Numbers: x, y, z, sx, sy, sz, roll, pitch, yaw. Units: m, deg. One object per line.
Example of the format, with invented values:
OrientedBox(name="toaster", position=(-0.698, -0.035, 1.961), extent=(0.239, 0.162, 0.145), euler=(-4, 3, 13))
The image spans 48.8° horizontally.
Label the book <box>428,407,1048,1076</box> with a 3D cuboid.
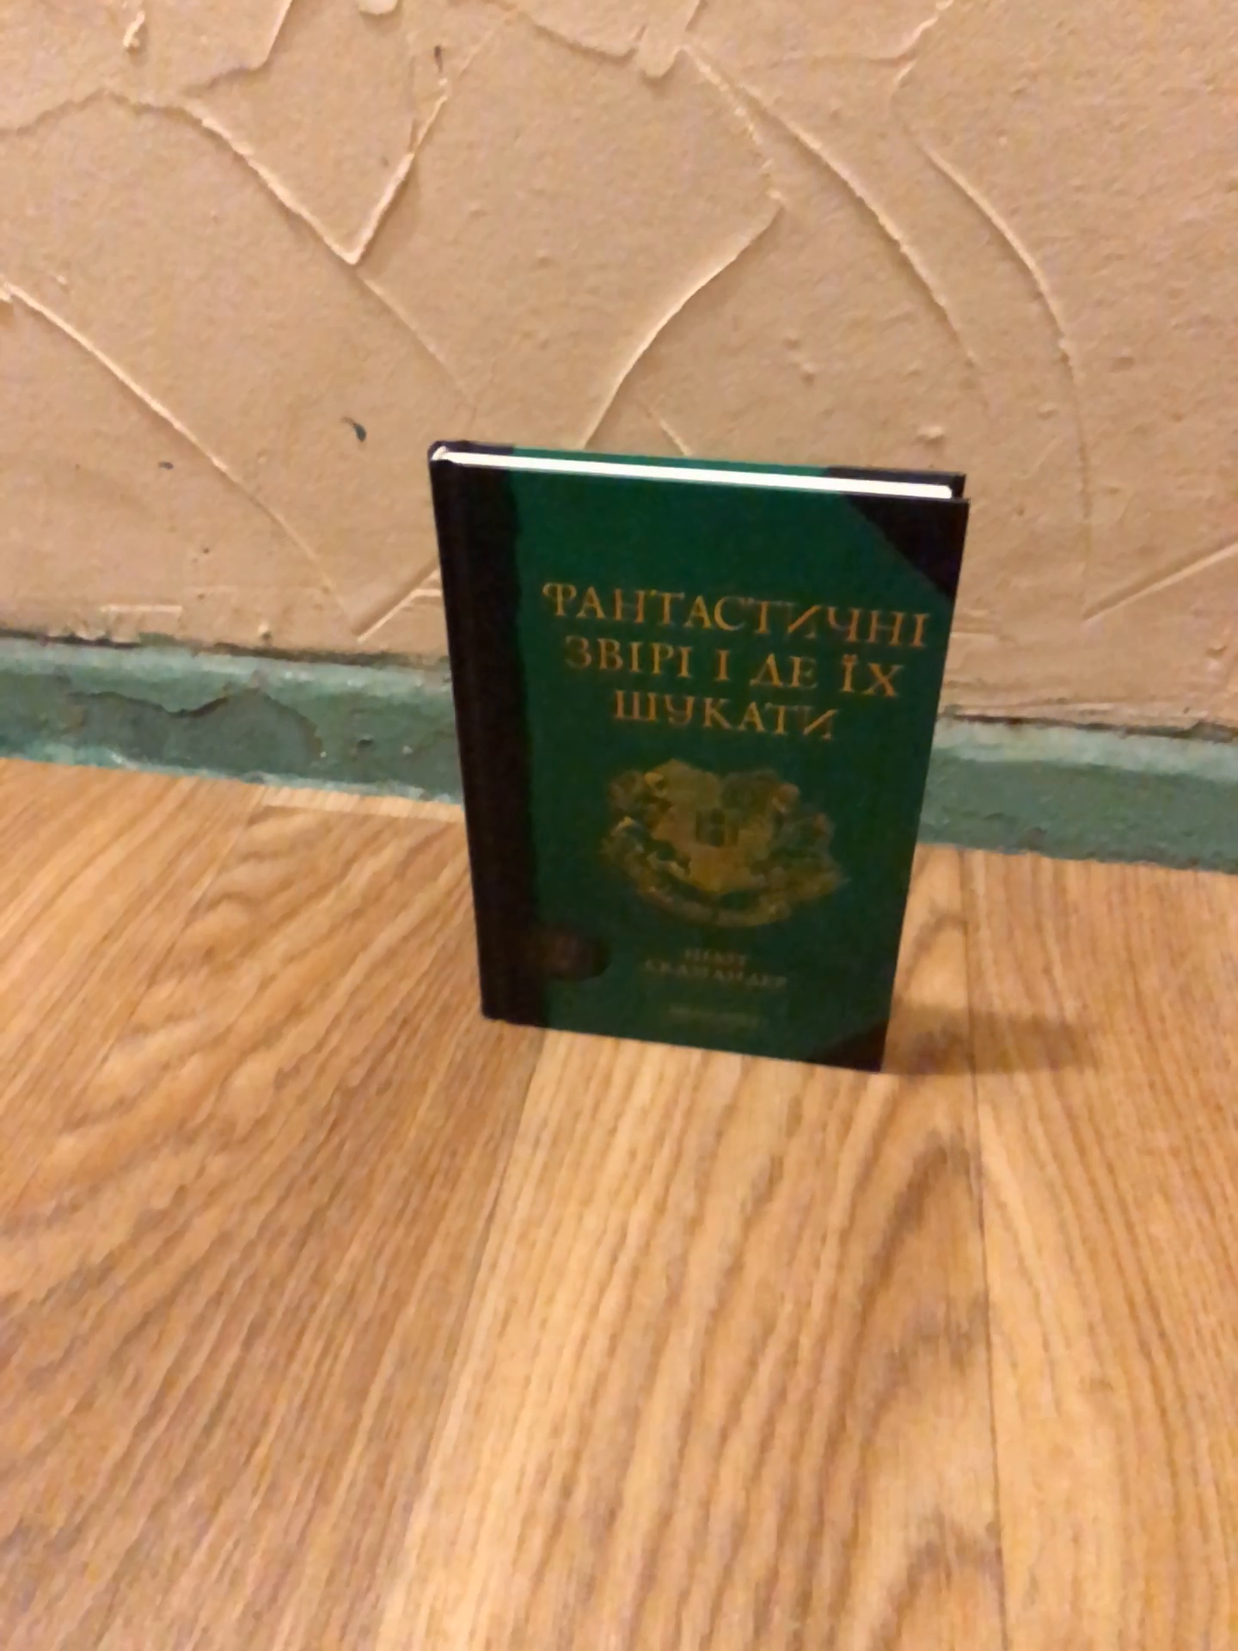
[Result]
OrientedBox(name="book", position=(0.029, -0.015, 0.391), extent=(0.148, 0.196, 0.024), euler=(6, 38, 9))
